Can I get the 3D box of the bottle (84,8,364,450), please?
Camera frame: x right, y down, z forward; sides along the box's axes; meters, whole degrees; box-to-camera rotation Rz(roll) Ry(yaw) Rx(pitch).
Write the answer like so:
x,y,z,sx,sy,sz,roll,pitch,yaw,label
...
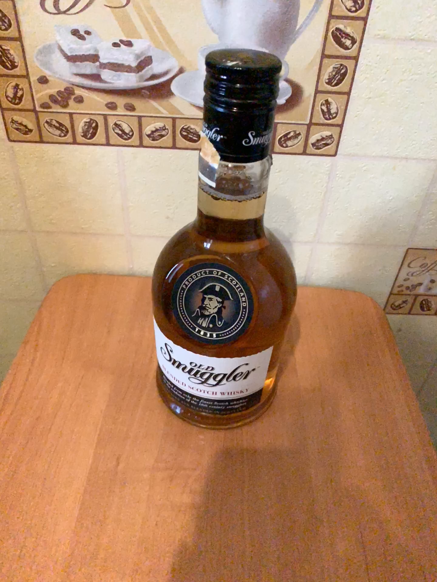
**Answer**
x,y,z,sx,sy,sz,roll,pitch,yaw,label
0.003,-0.020,0.262,0.100,0.229,0.080,13,40,10,bottle
